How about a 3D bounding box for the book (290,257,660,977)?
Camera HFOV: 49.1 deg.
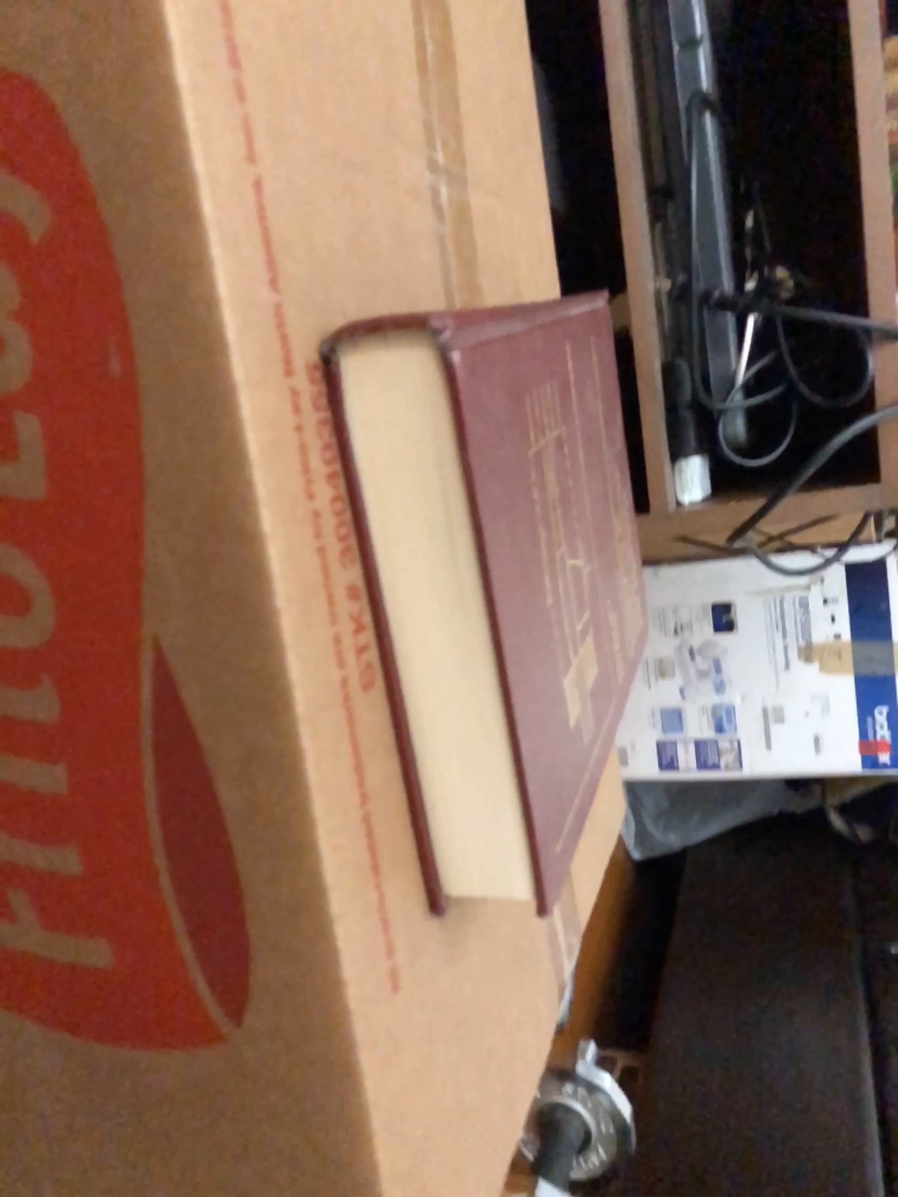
[{"bbox_3d":[0.033,-0.019,0.362,0.241,0.040,0.190,-43,125,-66],"label":"book"}]
